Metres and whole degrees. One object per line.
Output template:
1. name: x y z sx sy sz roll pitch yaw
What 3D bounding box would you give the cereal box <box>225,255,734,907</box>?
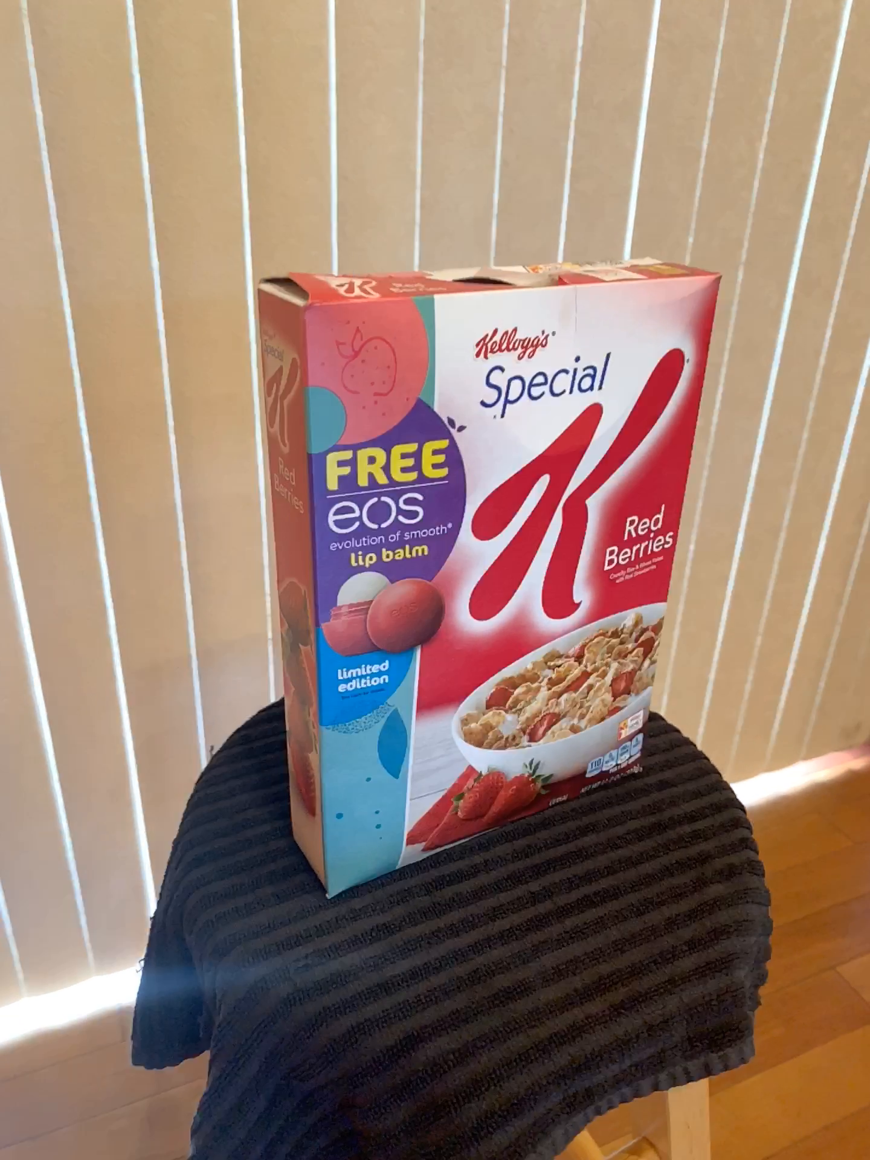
1. cereal box: 0.021 -0.003 0.417 0.210 0.269 0.050 -13 31 -28
